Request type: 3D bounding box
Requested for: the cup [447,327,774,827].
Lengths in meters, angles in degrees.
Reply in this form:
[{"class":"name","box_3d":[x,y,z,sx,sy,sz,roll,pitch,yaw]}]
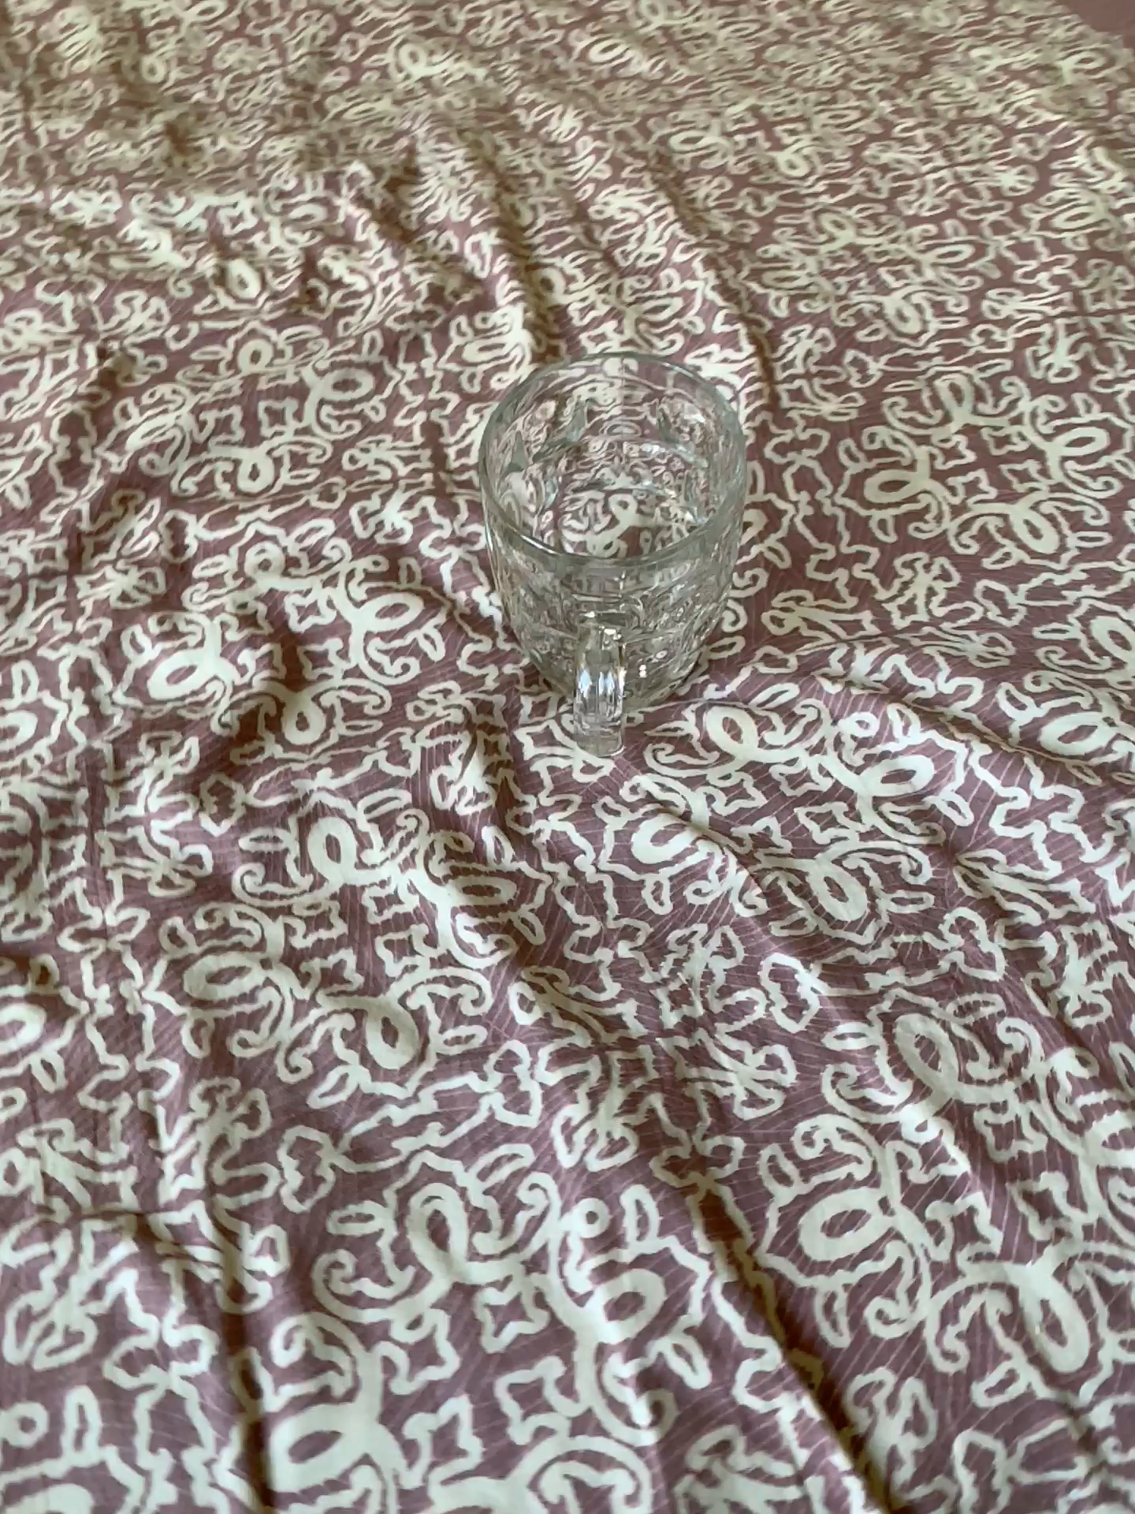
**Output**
[{"class":"cup","box_3d":[0.016,-0.060,0.403,0.090,0.109,0.131,0,55,4]}]
